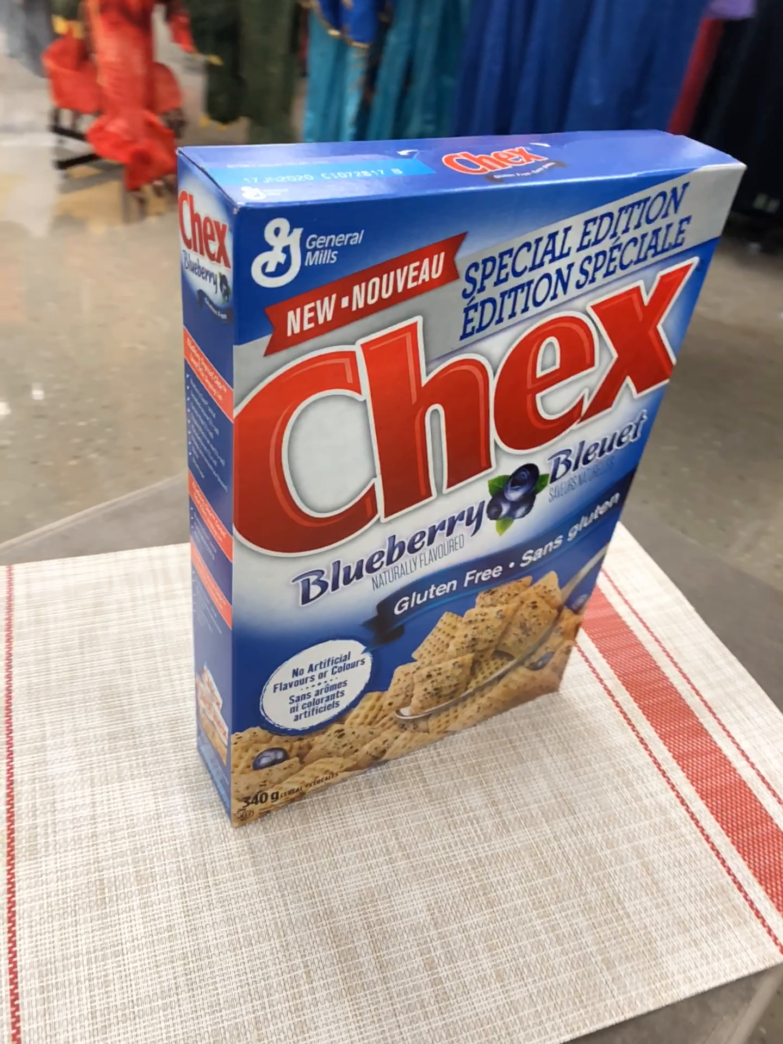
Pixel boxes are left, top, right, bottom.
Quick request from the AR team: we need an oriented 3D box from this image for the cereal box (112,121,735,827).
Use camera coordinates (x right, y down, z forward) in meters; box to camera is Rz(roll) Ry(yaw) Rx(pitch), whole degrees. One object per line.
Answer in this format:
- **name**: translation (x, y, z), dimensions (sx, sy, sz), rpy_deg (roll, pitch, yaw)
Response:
- **cereal box**: translation (0.006, -0.014, 0.348), dimensions (0.200, 0.259, 0.050), rpy_deg (-15, 43, -28)
